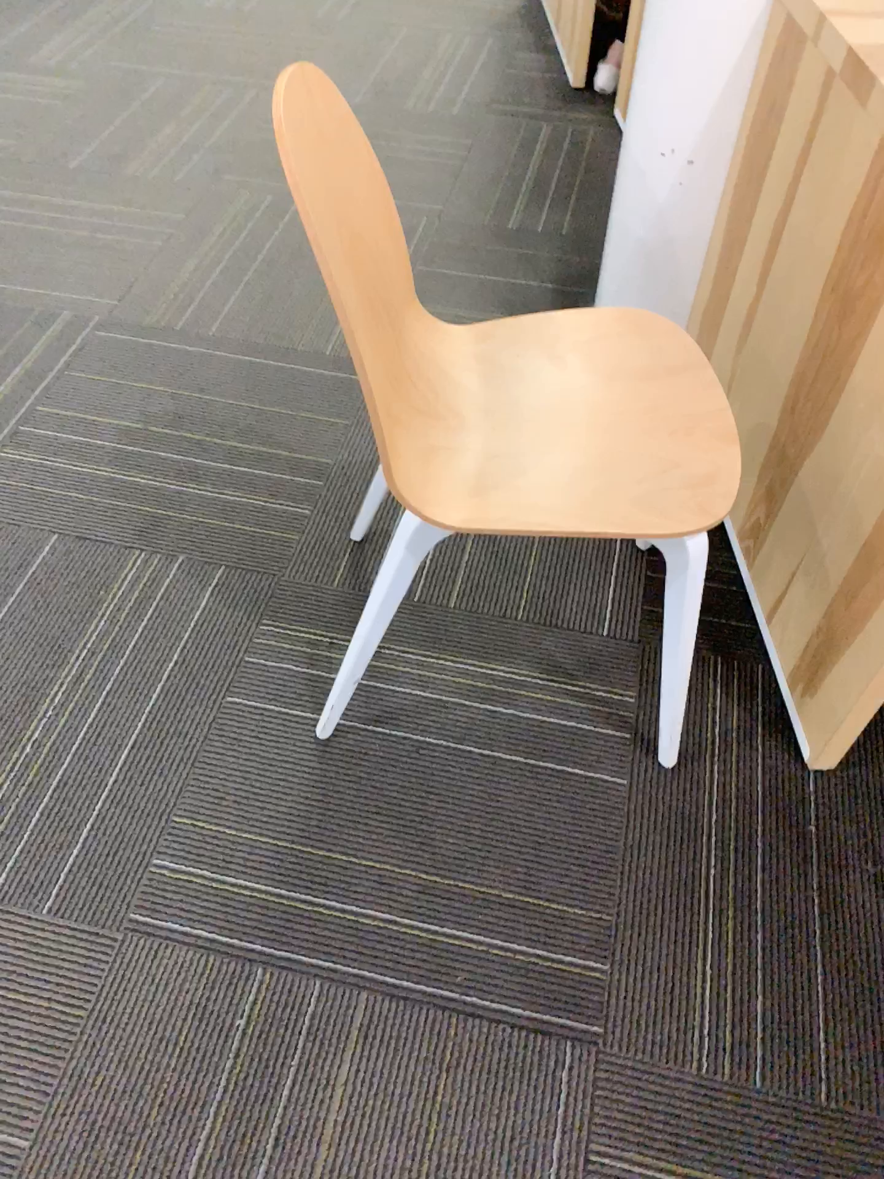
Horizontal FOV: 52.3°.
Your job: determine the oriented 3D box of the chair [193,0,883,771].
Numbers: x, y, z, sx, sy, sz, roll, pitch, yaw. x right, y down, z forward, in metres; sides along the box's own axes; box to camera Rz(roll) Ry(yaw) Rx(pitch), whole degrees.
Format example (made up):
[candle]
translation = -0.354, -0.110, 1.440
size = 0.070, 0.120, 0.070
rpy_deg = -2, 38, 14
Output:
[chair]
translation = 0.091, -0.204, 1.134
size = 0.550, 0.816, 0.502
rpy_deg = 2, 51, 0
